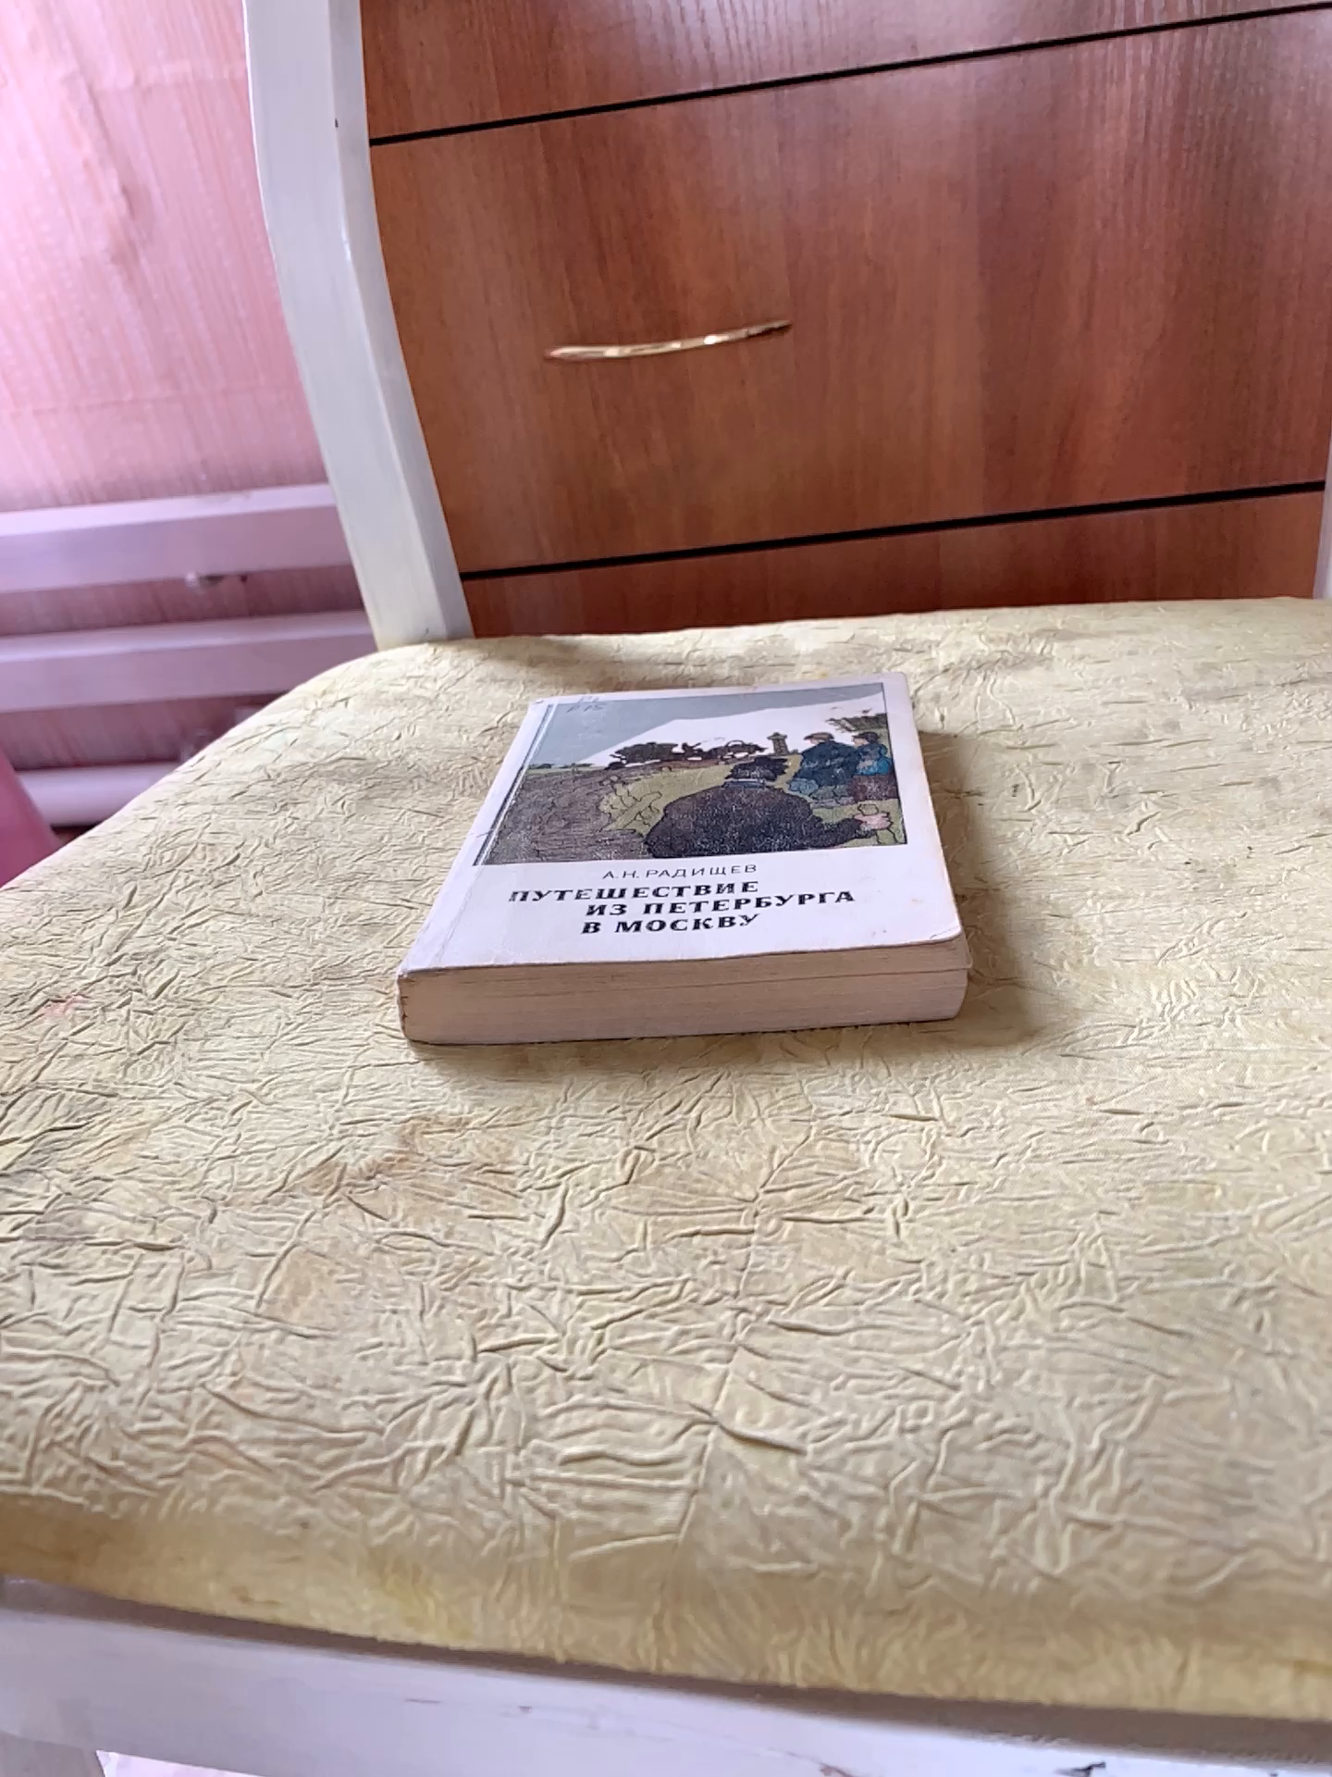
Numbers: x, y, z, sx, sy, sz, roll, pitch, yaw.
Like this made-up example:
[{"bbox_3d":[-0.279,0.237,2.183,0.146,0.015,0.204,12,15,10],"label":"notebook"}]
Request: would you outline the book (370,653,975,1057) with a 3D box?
[{"bbox_3d":[0.008,-0.017,0.327,0.111,0.020,0.163,-3,27,7],"label":"book"}]
